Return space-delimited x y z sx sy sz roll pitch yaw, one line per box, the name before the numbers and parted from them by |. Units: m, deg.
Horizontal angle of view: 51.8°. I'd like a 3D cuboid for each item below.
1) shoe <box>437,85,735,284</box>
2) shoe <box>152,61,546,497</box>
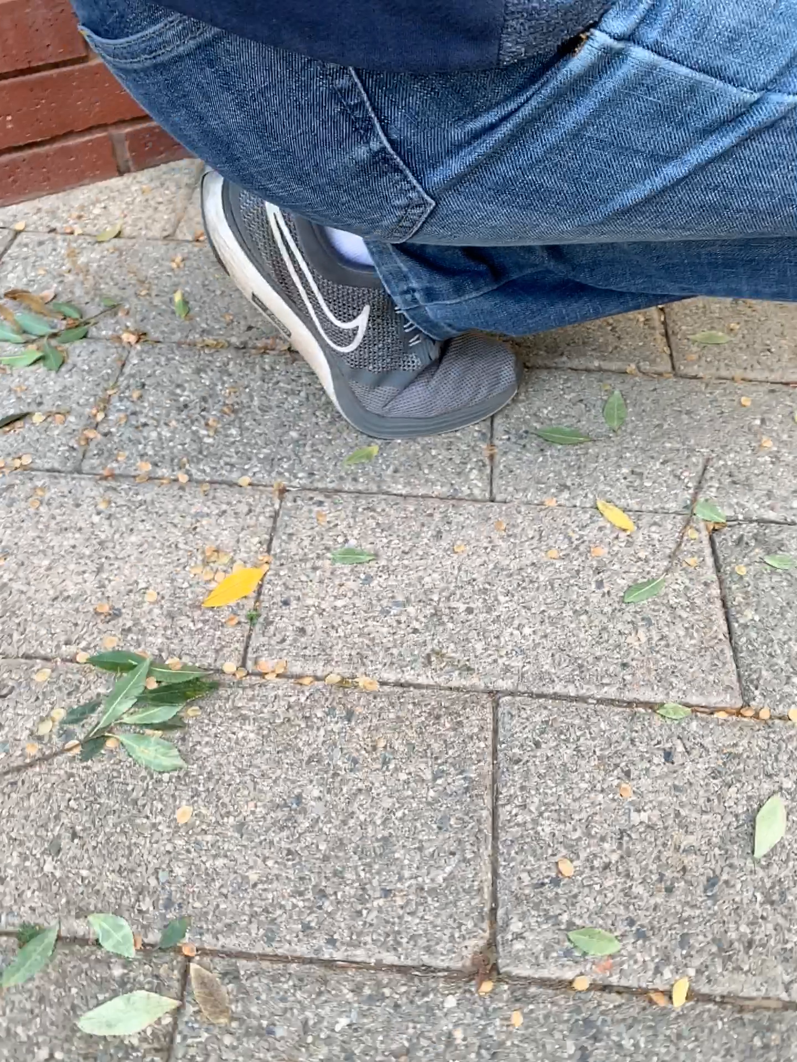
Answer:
shoe | 0.187 -0.355 0.826 0.280 0.083 0.111 -26 55 -21
shoe | -0.018 -0.164 0.588 0.098 0.273 0.116 -21 39 38
